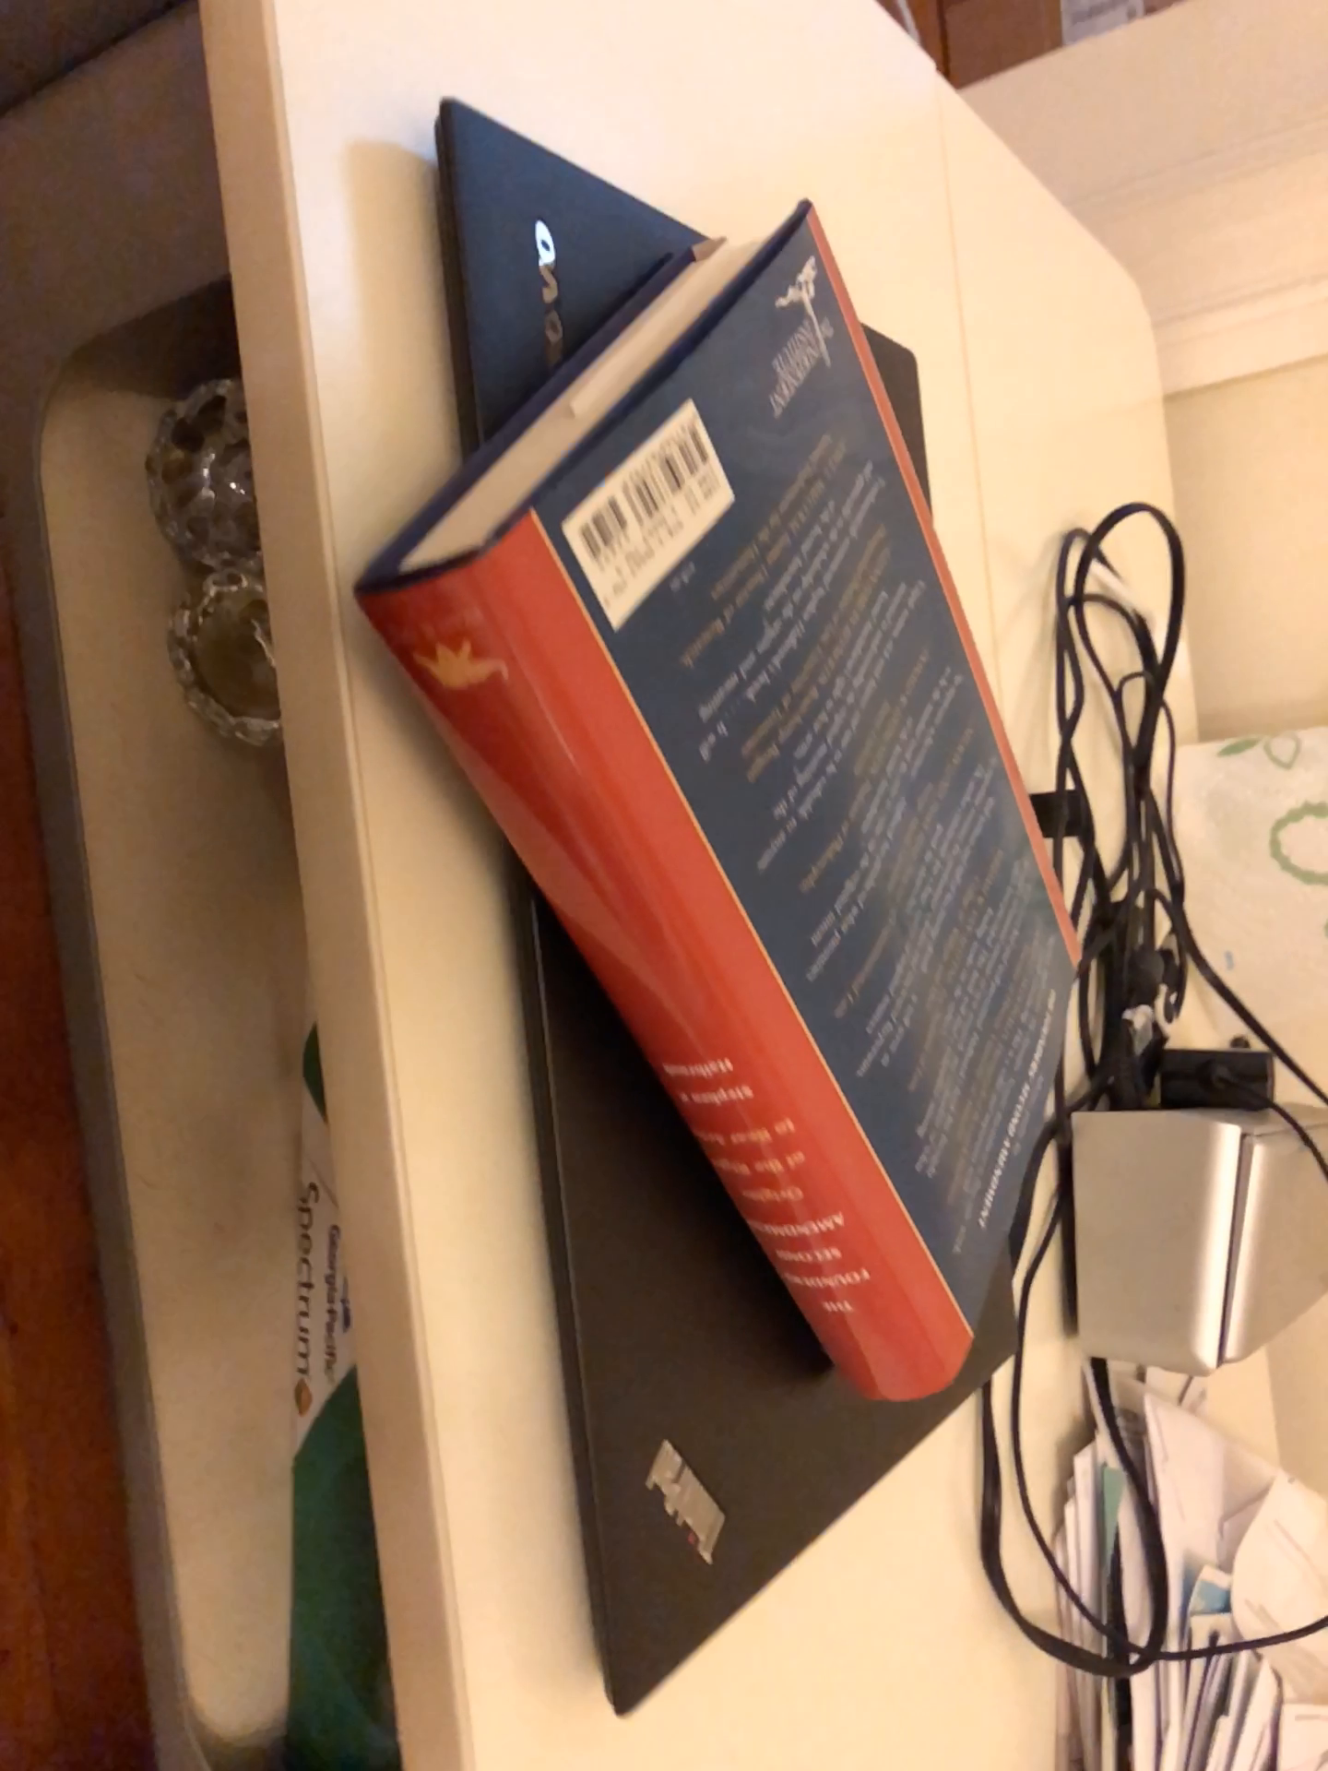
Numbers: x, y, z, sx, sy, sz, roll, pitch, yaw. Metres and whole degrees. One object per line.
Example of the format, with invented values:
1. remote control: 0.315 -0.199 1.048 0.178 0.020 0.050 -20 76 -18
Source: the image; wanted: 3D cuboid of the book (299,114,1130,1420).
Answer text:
1. book: 0.042 -0.023 0.338 0.240 0.040 0.171 60 39 -30
